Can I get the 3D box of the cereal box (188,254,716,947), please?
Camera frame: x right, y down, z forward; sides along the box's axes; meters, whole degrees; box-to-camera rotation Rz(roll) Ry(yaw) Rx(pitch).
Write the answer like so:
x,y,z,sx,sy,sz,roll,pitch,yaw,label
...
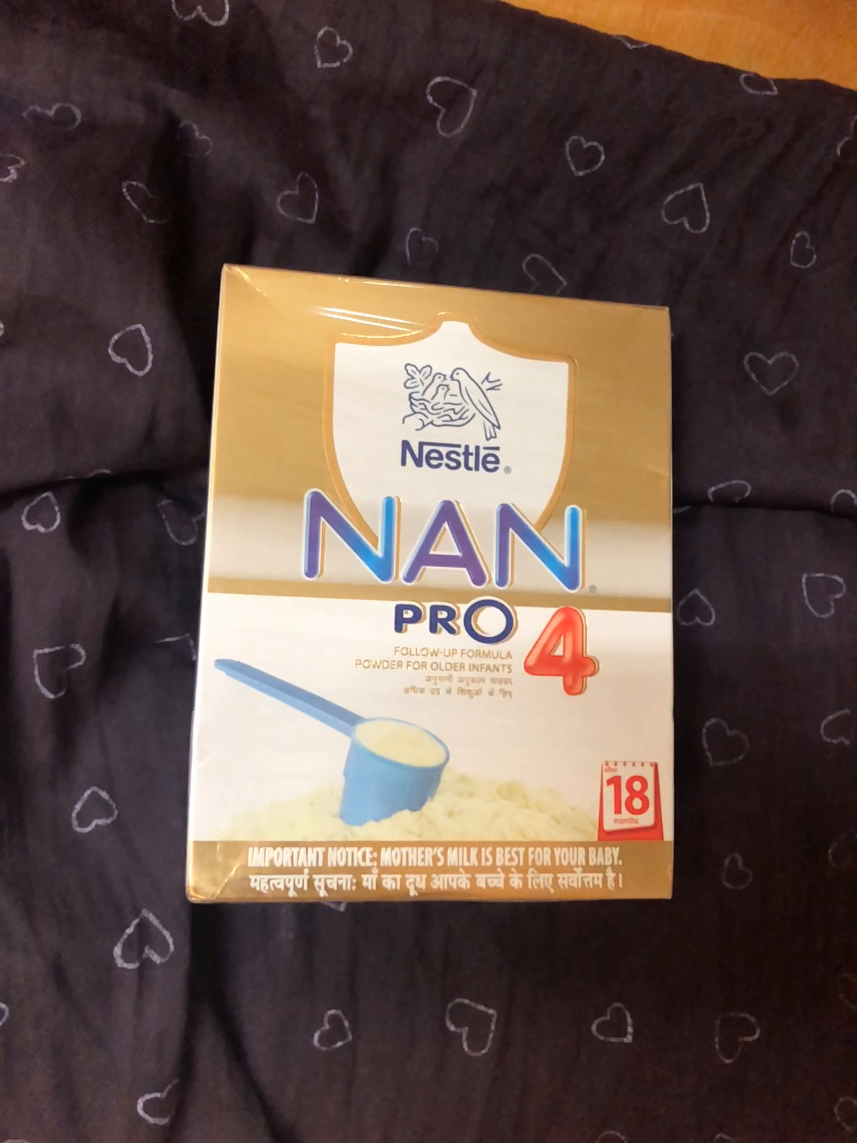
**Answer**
x,y,z,sx,sy,sz,roll,pitch,yaw,label
0.009,0.010,0.324,0.160,0.050,0.210,3,82,-8,cereal box
